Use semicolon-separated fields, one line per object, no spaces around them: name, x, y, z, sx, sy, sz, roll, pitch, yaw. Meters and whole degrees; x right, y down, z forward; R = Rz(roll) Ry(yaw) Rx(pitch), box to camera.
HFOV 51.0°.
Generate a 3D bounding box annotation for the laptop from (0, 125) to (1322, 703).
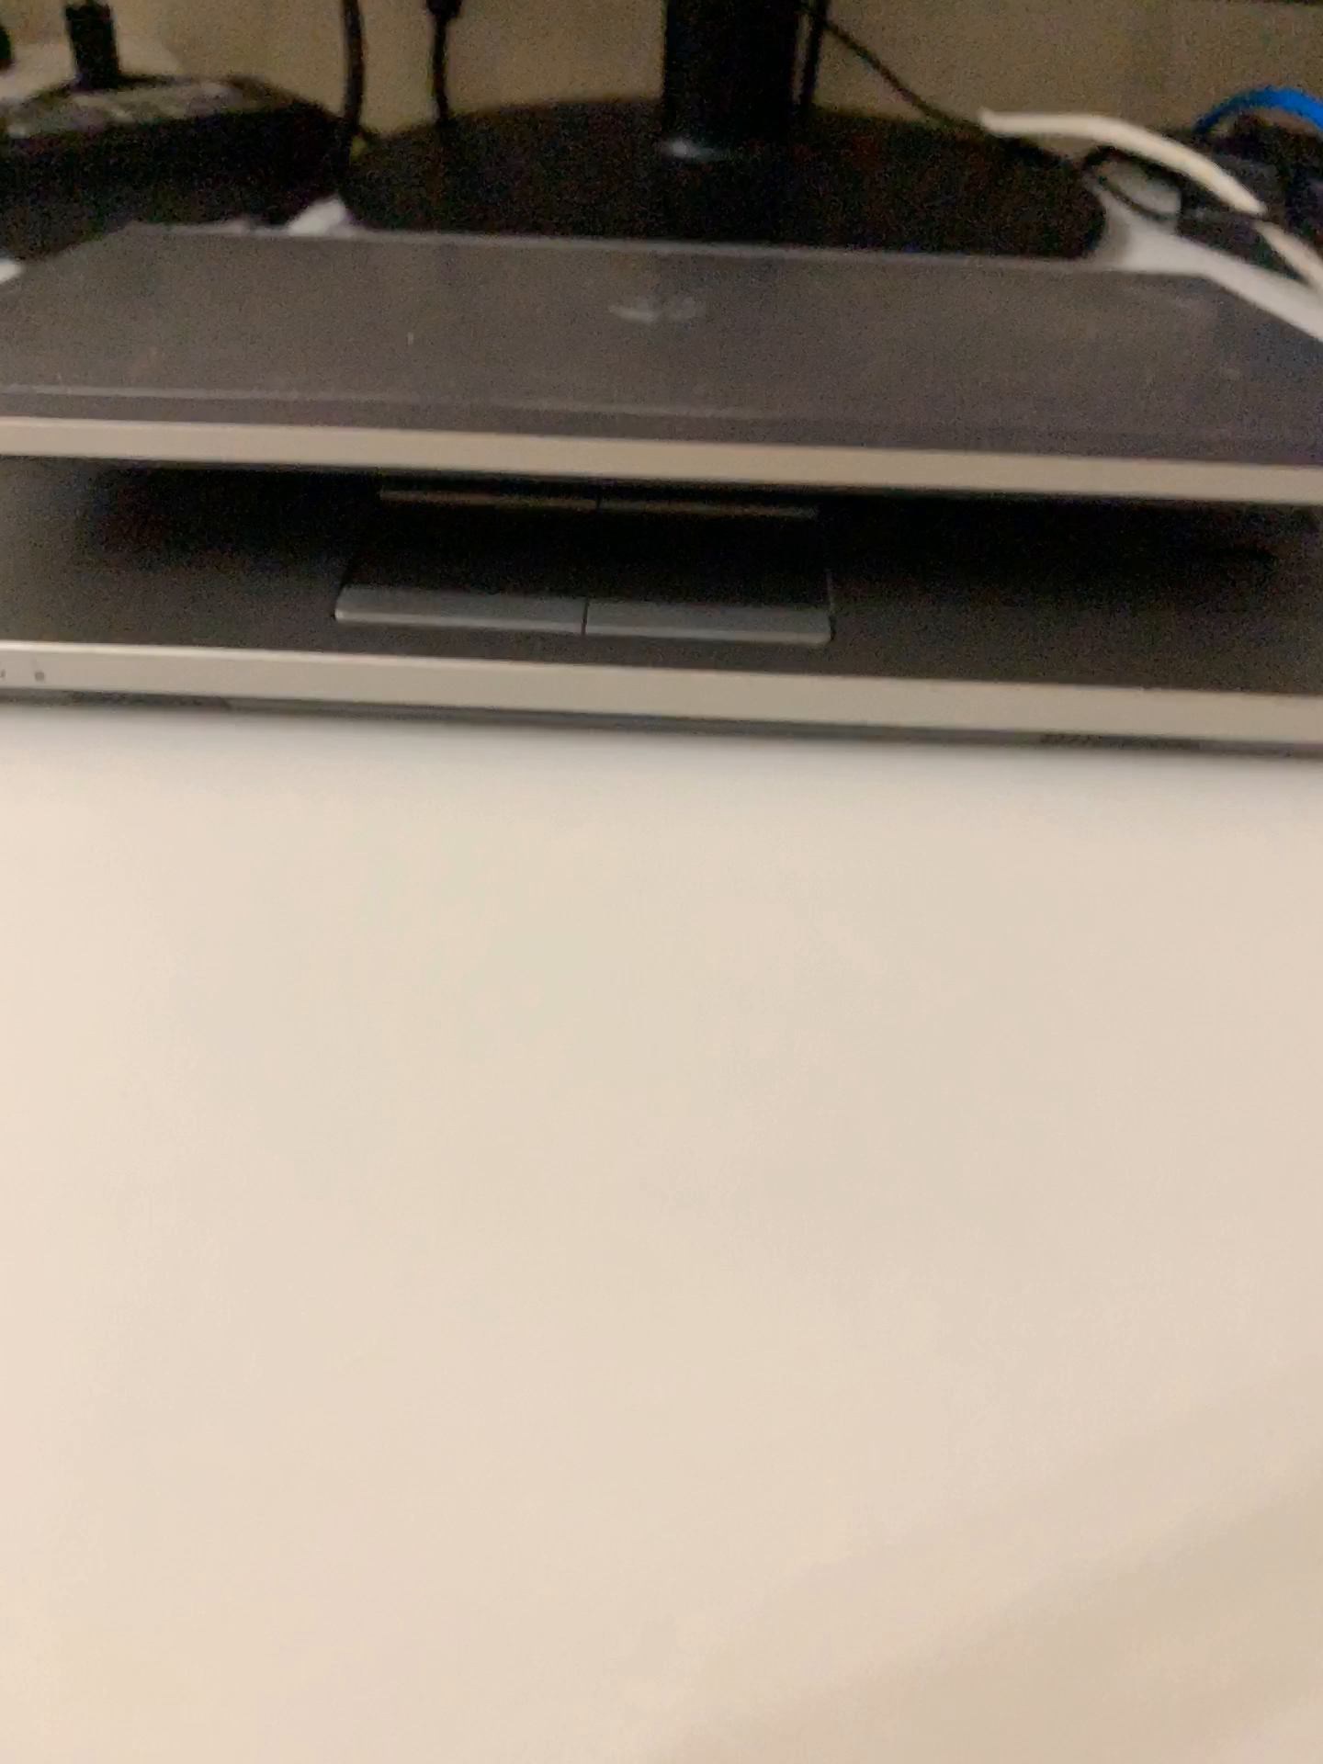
laptop;-0.002;-0.114;0.304;0.292;0.029;0.184;2;45;0
